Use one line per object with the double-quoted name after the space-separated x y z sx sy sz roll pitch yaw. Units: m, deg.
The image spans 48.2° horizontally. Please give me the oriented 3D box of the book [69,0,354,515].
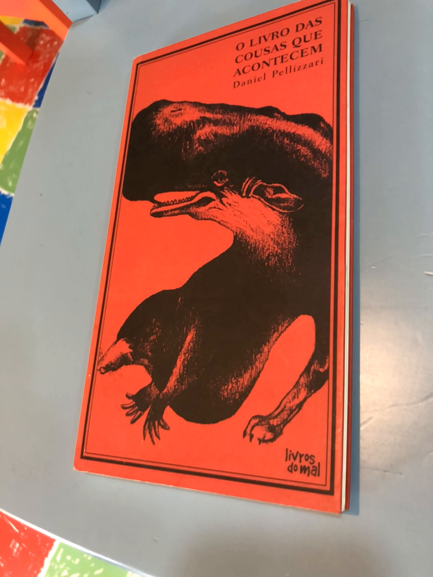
0.000 -0.023 0.204 0.110 0.016 0.200 -4 72 28 "book"
